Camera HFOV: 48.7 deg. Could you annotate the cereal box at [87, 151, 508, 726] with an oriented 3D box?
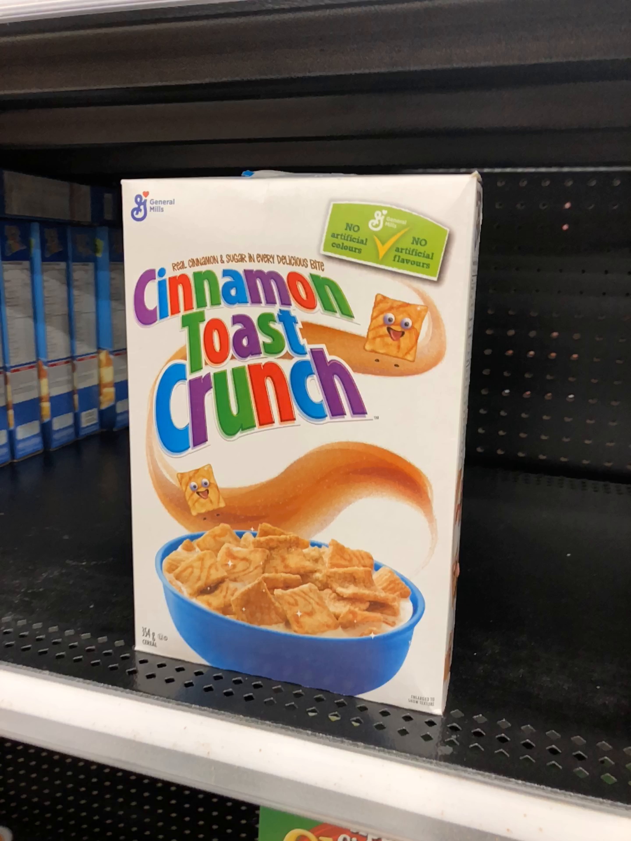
[{"bbox_3d":[-0.015,0.006,0.383,0.210,0.279,0.050,5,12,17],"label":"cereal box"}]
